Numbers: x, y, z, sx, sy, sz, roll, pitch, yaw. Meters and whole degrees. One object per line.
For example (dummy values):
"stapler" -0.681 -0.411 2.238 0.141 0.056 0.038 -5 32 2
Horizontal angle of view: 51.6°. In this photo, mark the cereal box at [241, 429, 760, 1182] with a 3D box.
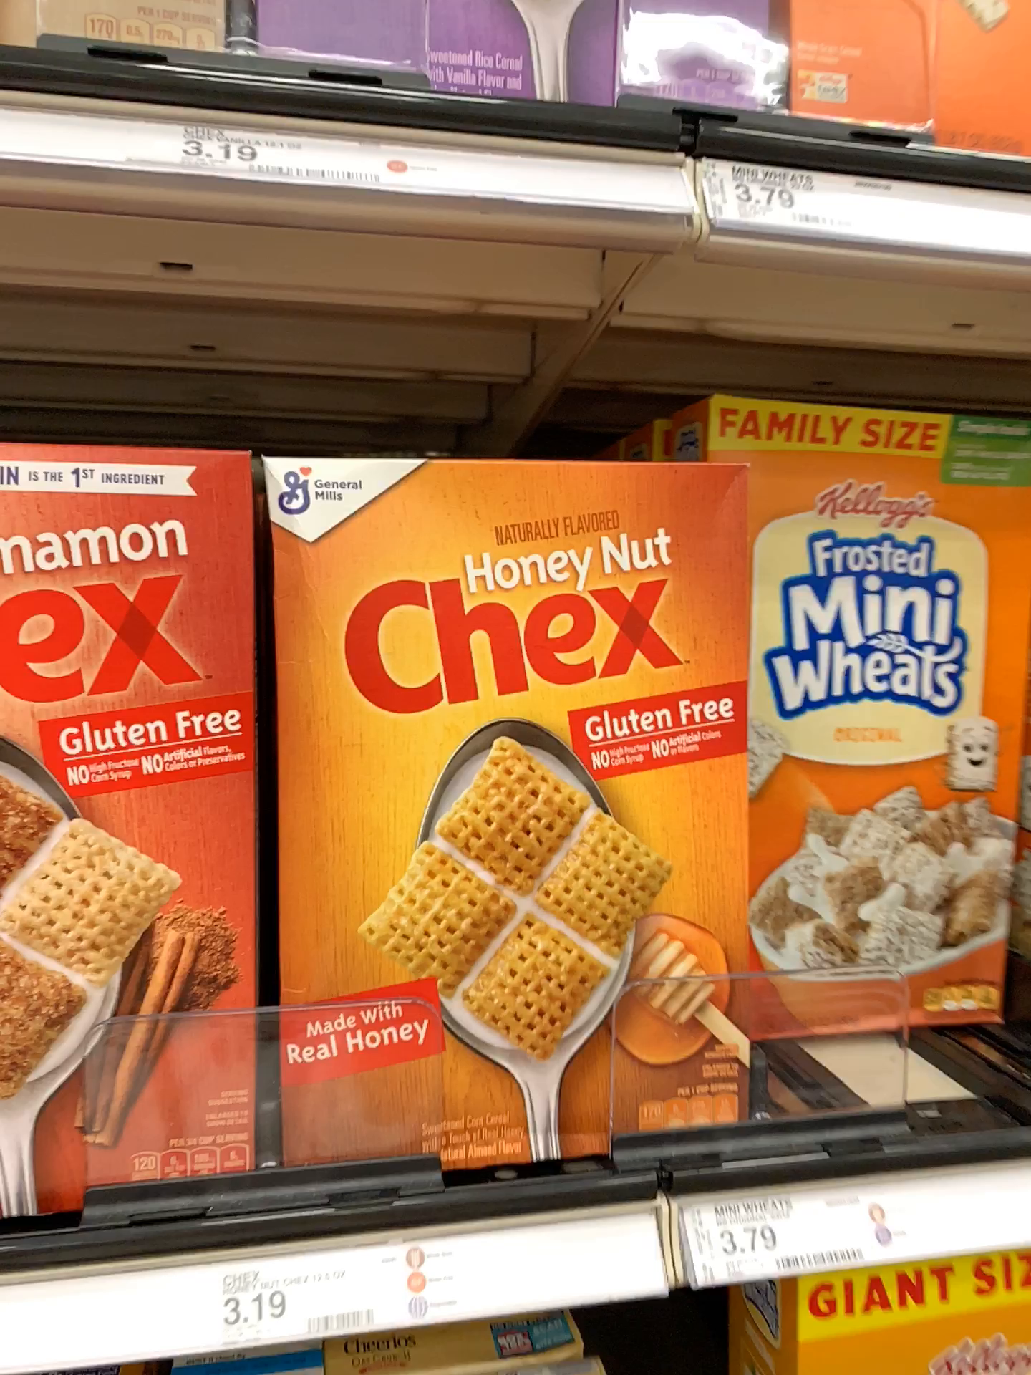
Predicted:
"cereal box" -0.009 0.044 0.443 0.200 0.280 0.060 0 5 -13
